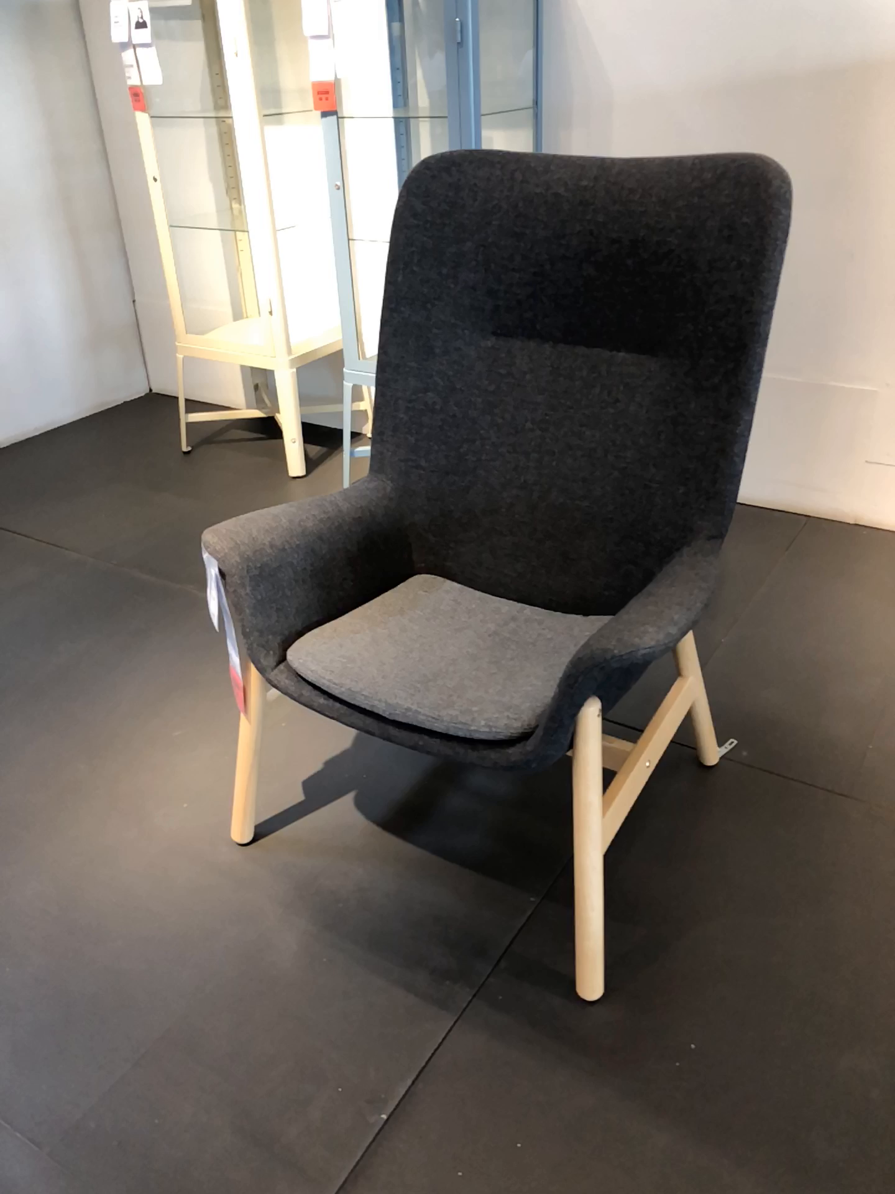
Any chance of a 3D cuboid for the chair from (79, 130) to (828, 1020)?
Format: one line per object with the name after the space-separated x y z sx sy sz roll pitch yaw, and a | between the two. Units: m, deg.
0.064 -0.116 1.537 0.721 1.063 0.713 15 33 29 | chair
